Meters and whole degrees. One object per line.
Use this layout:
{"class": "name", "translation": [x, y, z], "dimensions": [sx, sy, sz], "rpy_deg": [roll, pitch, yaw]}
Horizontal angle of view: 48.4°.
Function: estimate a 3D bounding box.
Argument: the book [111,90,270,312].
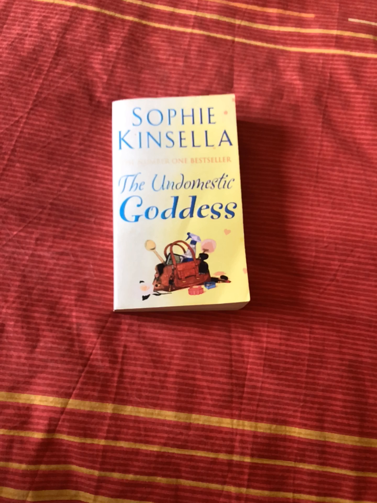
{"class": "book", "translation": [-0.002, -0.043, 0.354], "dimensions": [0.120, 0.040, 0.180], "rpy_deg": [-1, 79, -4]}
